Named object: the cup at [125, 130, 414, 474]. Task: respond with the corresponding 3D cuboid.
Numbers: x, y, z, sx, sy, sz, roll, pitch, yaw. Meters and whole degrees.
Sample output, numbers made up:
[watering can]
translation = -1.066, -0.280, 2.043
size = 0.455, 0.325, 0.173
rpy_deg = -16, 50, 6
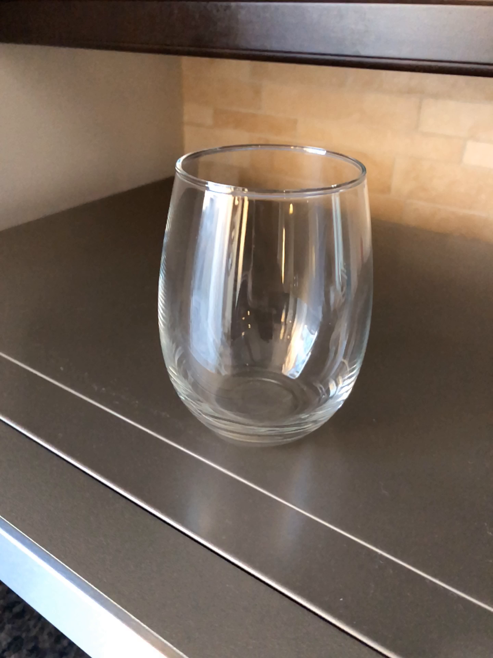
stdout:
[cup]
translation = 0.012, -0.018, 0.231
size = 0.078, 0.104, 0.083
rpy_deg = 0, 30, 0
